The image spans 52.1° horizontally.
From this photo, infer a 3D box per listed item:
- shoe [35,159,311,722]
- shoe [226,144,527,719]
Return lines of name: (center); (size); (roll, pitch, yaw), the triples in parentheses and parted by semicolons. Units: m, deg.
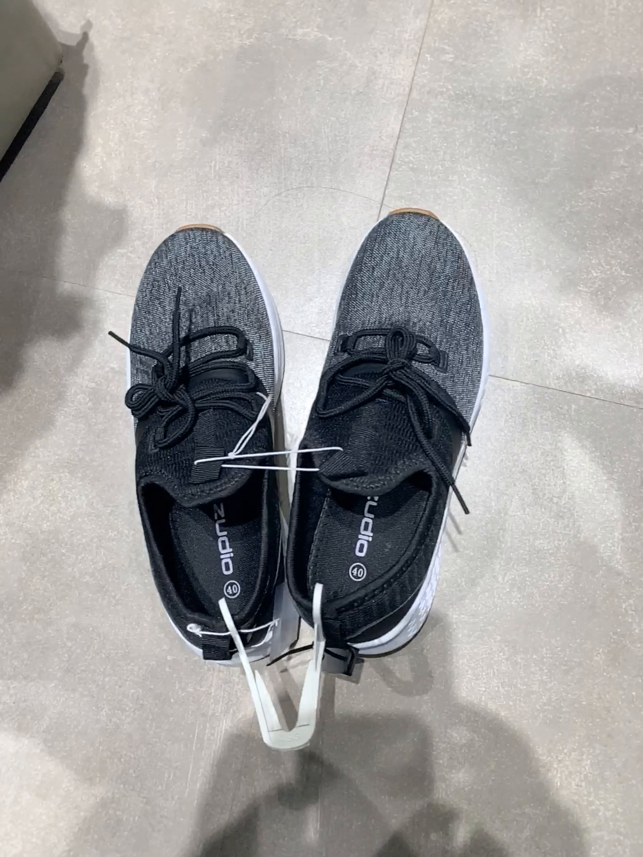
shoe: (-0.082, 0.006, 0.384); (0.106, 0.096, 0.278); (-9, 81, 4)
shoe: (0.034, -0.002, 0.378); (0.107, 0.096, 0.278); (9, 83, 6)
